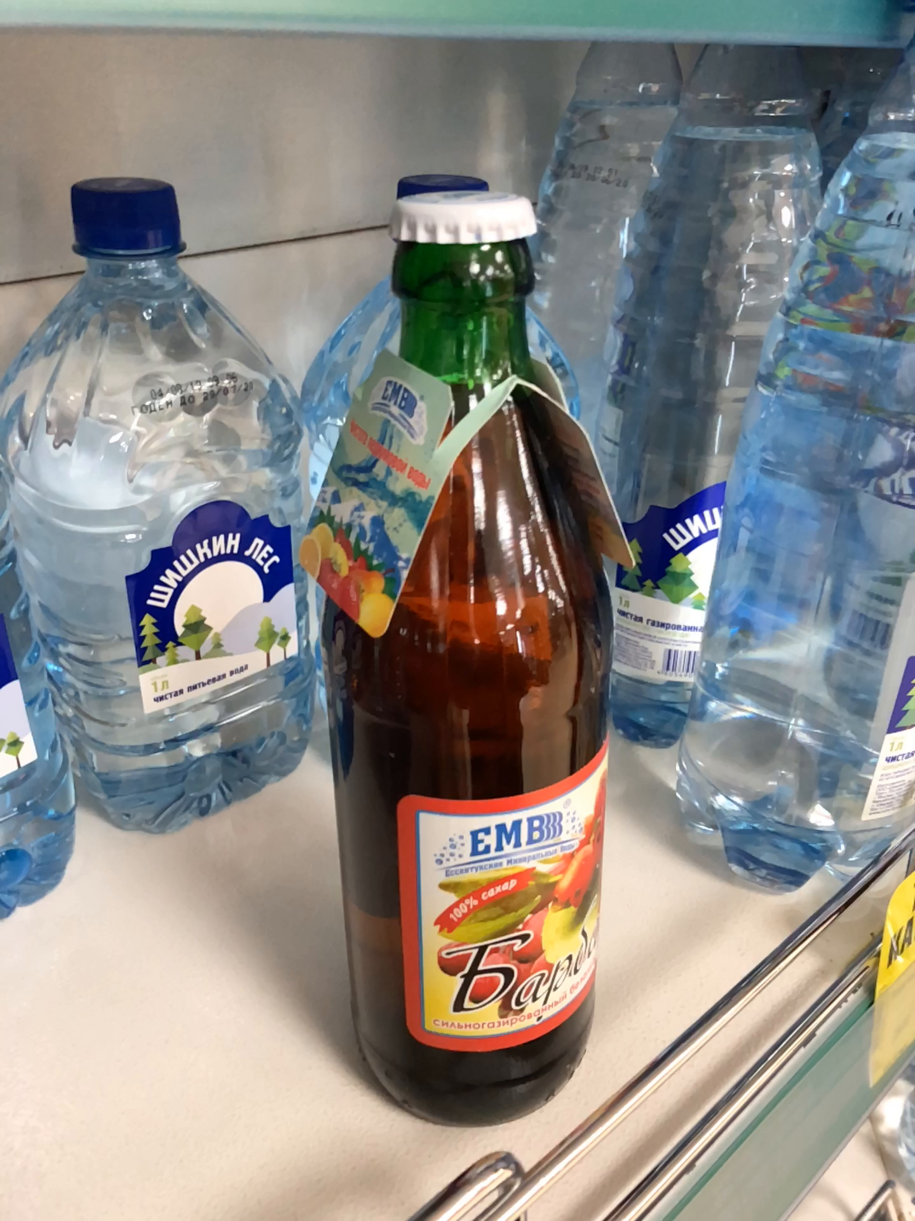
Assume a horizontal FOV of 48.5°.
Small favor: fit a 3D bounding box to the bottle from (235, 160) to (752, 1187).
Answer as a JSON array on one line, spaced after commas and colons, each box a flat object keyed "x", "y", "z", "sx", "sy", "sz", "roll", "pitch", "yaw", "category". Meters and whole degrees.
[{"x": 0.008, "y": 0.022, "z": 0.235, "sx": 0.073, "sy": 0.222, "sz": 0.057, "roll": -23, "pitch": 36, "yaw": -34, "category": "bottle"}]
